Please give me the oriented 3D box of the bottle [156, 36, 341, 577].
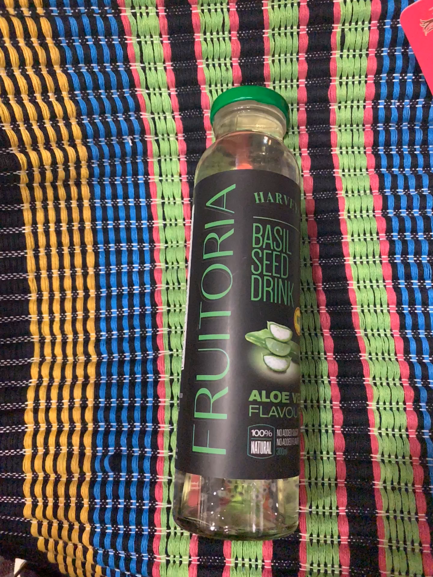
[{"bbox_3d":[0.013,0.005,0.200,0.050,0.060,0.200,7,78,-28],"label":"bottle"}]
